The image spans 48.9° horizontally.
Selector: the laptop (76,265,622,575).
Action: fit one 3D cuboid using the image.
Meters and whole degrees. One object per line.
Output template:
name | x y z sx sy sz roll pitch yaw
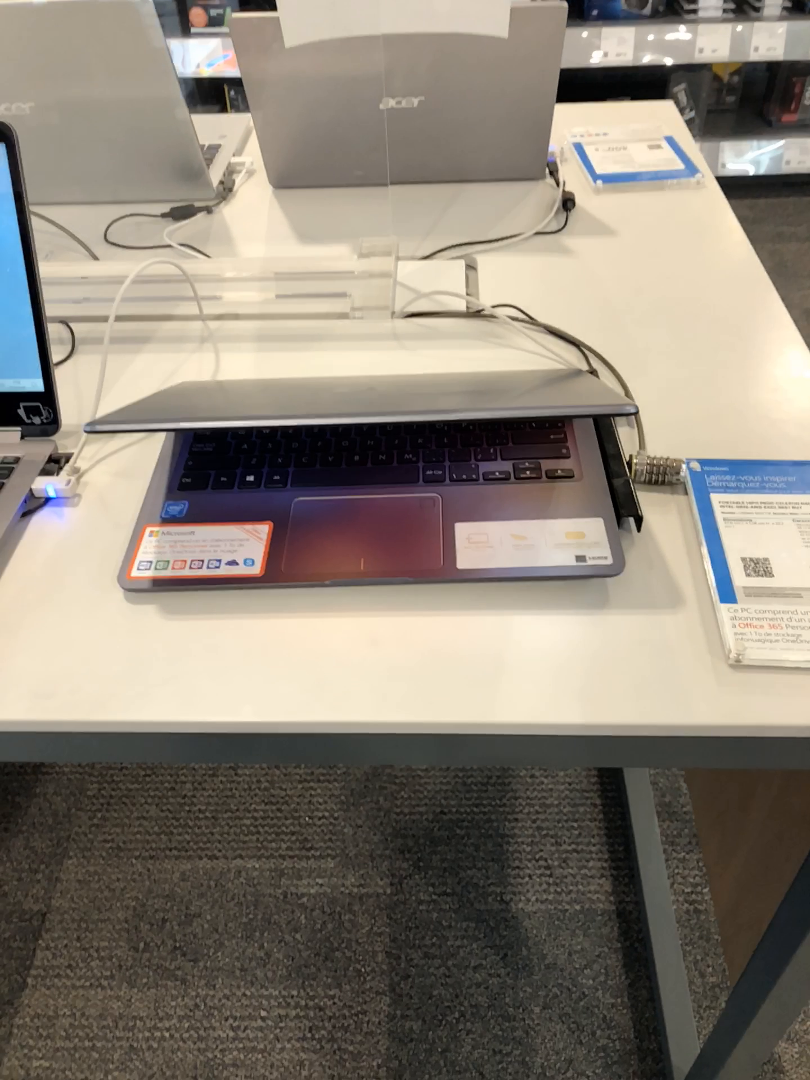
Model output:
laptop | -0.030 -0.087 0.596 0.300 0.099 0.202 -1 43 1
